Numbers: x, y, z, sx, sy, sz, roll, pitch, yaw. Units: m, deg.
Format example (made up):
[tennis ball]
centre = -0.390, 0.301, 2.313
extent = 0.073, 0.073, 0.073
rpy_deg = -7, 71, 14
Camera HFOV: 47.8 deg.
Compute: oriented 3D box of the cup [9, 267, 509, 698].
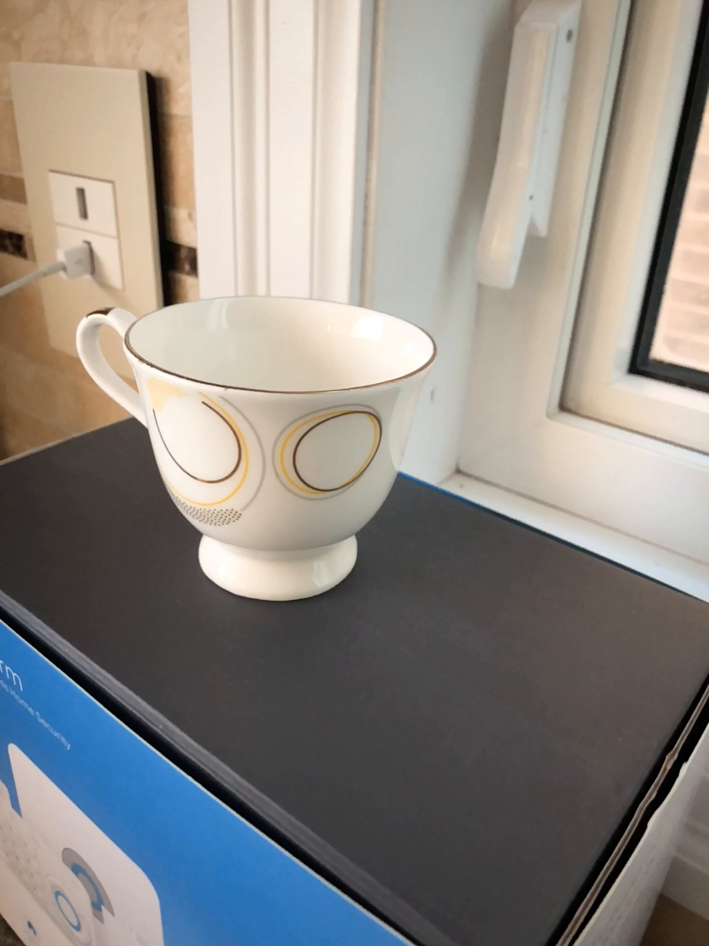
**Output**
[cup]
centre = -0.024, -0.008, 0.217
extent = 0.100, 0.066, 0.076
rpy_deg = 20, 33, 30
